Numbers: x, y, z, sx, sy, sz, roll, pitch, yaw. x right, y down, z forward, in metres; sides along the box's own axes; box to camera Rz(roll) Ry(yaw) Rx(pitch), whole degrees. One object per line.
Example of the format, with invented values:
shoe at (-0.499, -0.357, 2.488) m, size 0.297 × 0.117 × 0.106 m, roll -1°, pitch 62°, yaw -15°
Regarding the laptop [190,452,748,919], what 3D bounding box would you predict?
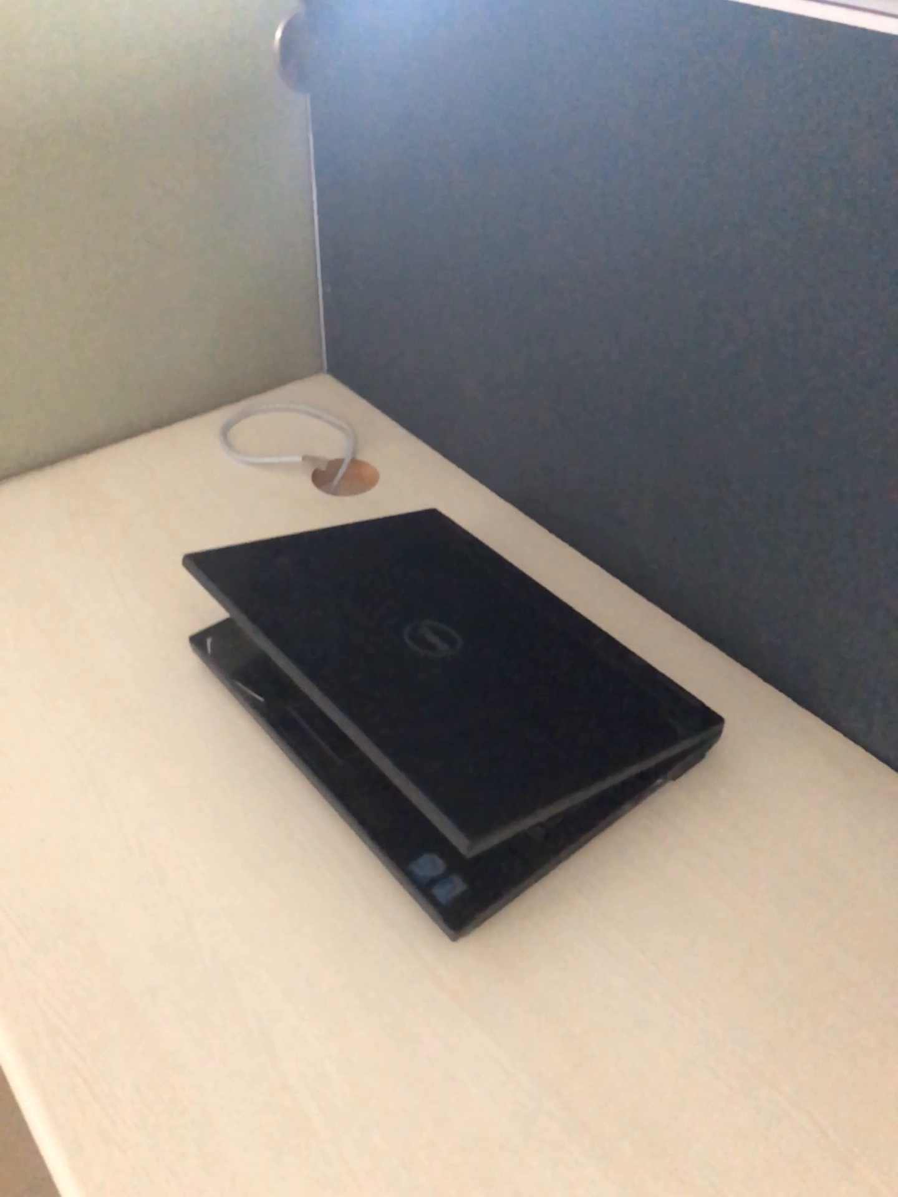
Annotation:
laptop at (0.003, 0.032, 0.685) m, size 0.230 × 0.064 × 0.303 m, roll -29°, pitch 49°, yaw -28°
